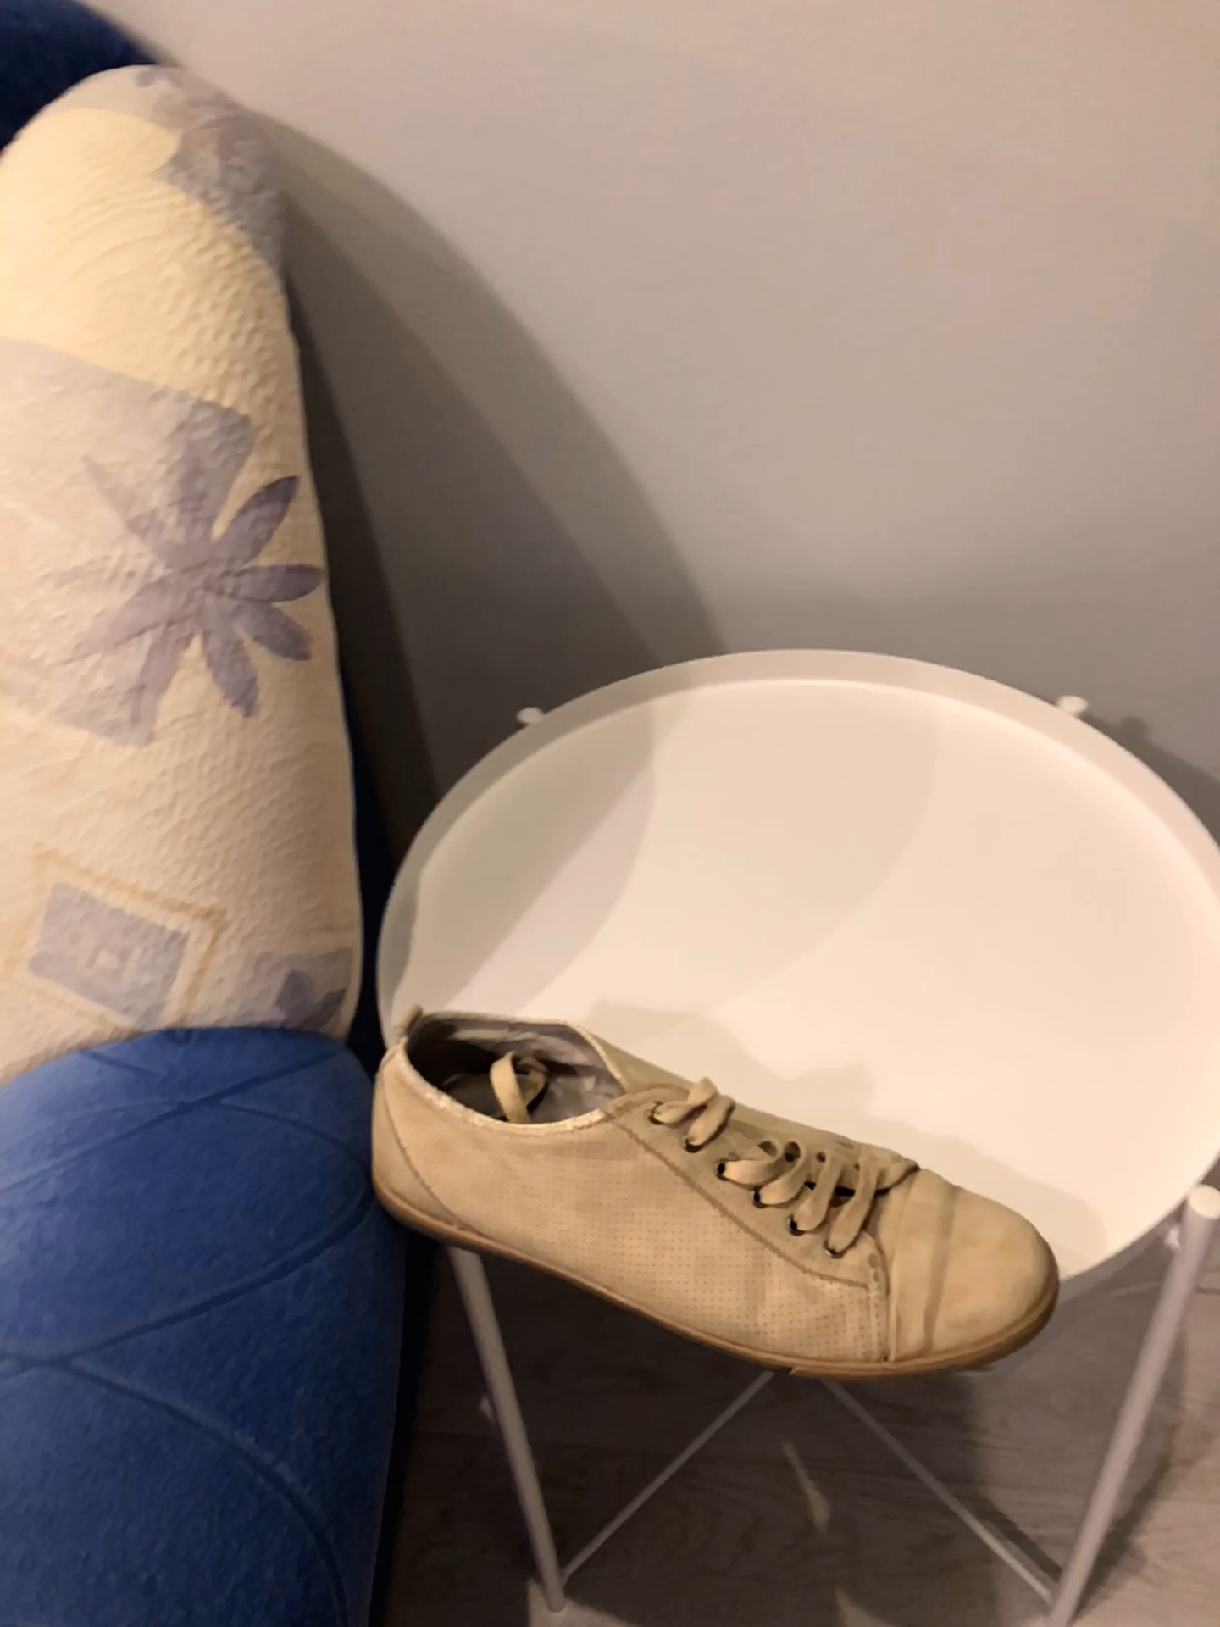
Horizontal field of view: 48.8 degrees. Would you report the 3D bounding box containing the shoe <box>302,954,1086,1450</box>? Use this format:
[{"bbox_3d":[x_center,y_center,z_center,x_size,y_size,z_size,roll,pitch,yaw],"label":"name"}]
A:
[{"bbox_3d":[0.035,0.145,0.535,0.280,0.070,0.111,9,42,14],"label":"shoe"}]
